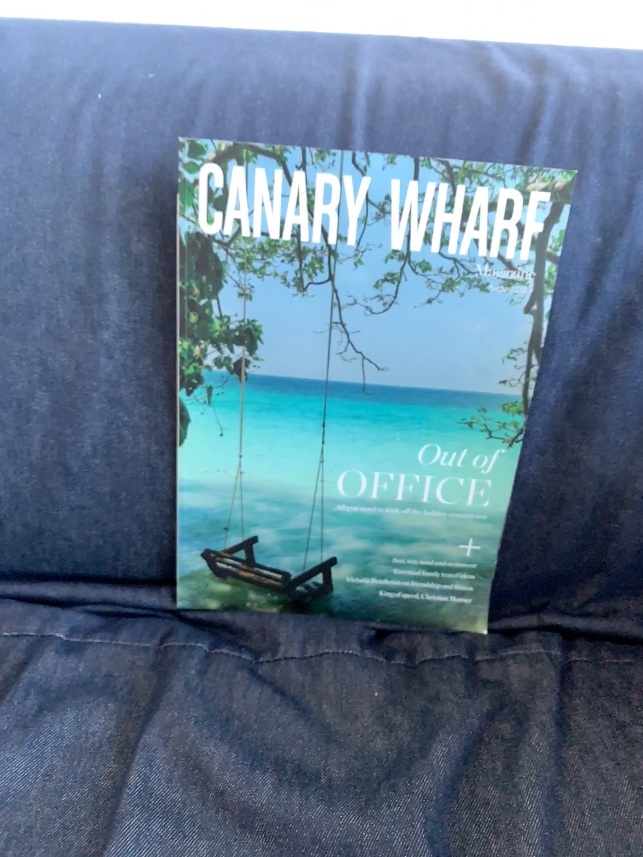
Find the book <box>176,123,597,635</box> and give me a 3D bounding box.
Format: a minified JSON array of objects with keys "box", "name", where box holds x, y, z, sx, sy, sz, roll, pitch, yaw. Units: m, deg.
[{"box":[0.023,-0.017,0.382,0.205,0.273,0.030,4,18,1],"name":"book"}]
